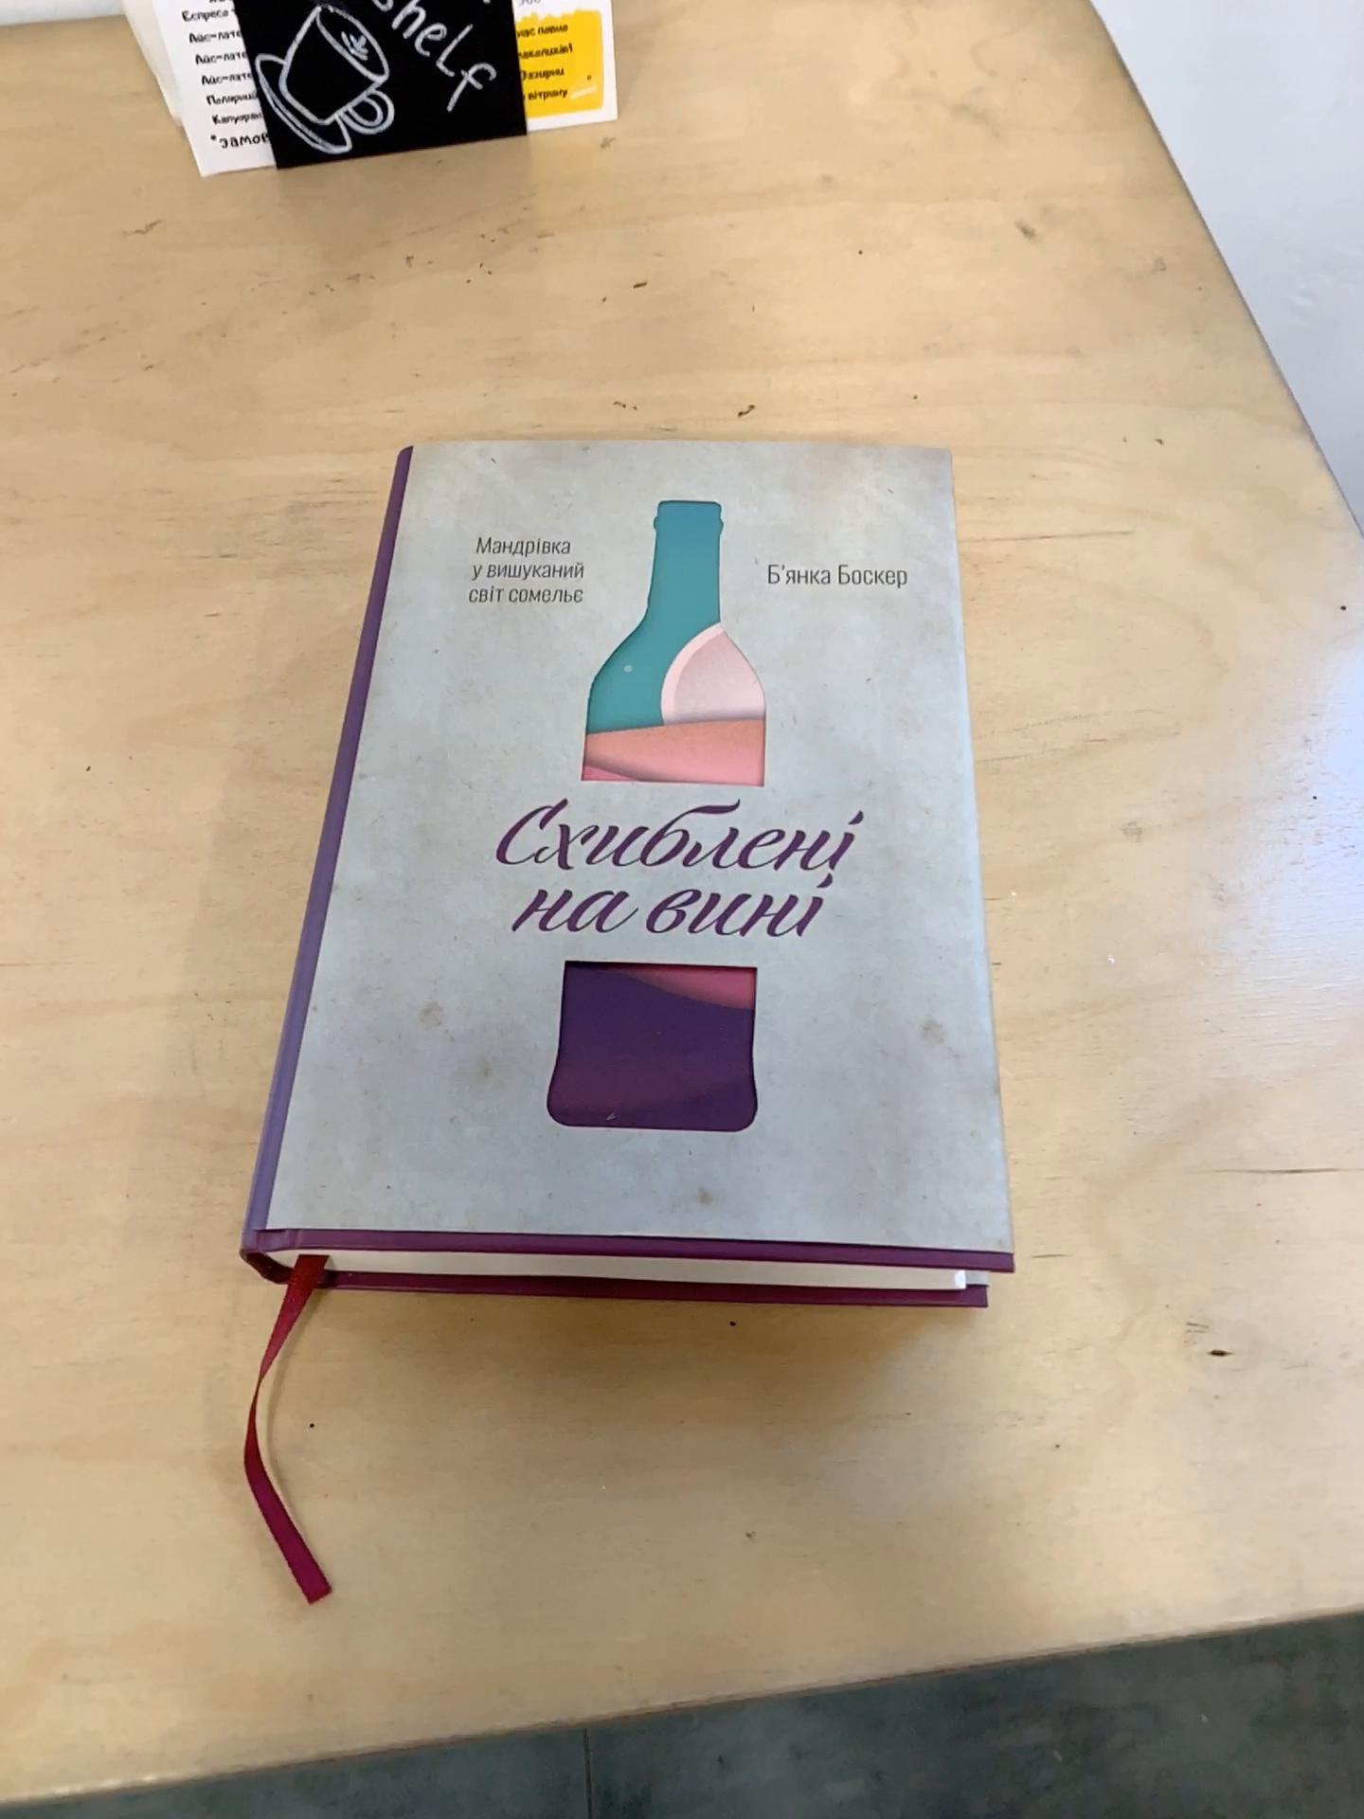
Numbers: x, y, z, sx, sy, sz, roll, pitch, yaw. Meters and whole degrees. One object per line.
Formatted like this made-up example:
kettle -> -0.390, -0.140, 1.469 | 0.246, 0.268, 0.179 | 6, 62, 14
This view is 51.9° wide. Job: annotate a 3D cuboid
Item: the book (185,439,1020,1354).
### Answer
book -> -0.011, -0.014, 0.327 | 0.150, 0.050, 0.214 | 2, 59, 1
